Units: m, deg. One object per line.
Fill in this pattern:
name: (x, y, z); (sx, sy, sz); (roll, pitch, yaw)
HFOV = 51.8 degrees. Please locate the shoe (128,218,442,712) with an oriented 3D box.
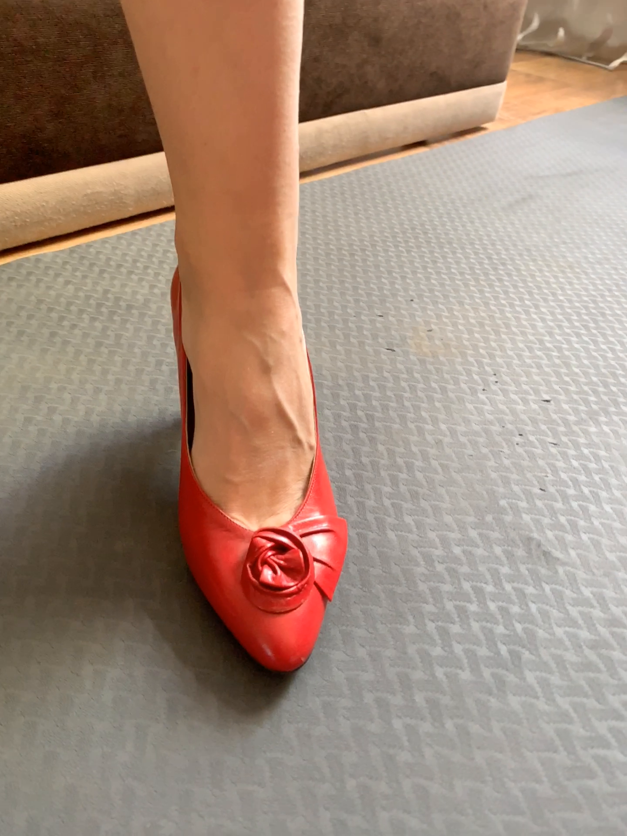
shoe: (-0.032, 0.002, 0.305); (0.080, 0.109, 0.211); (-8, 40, -16)
